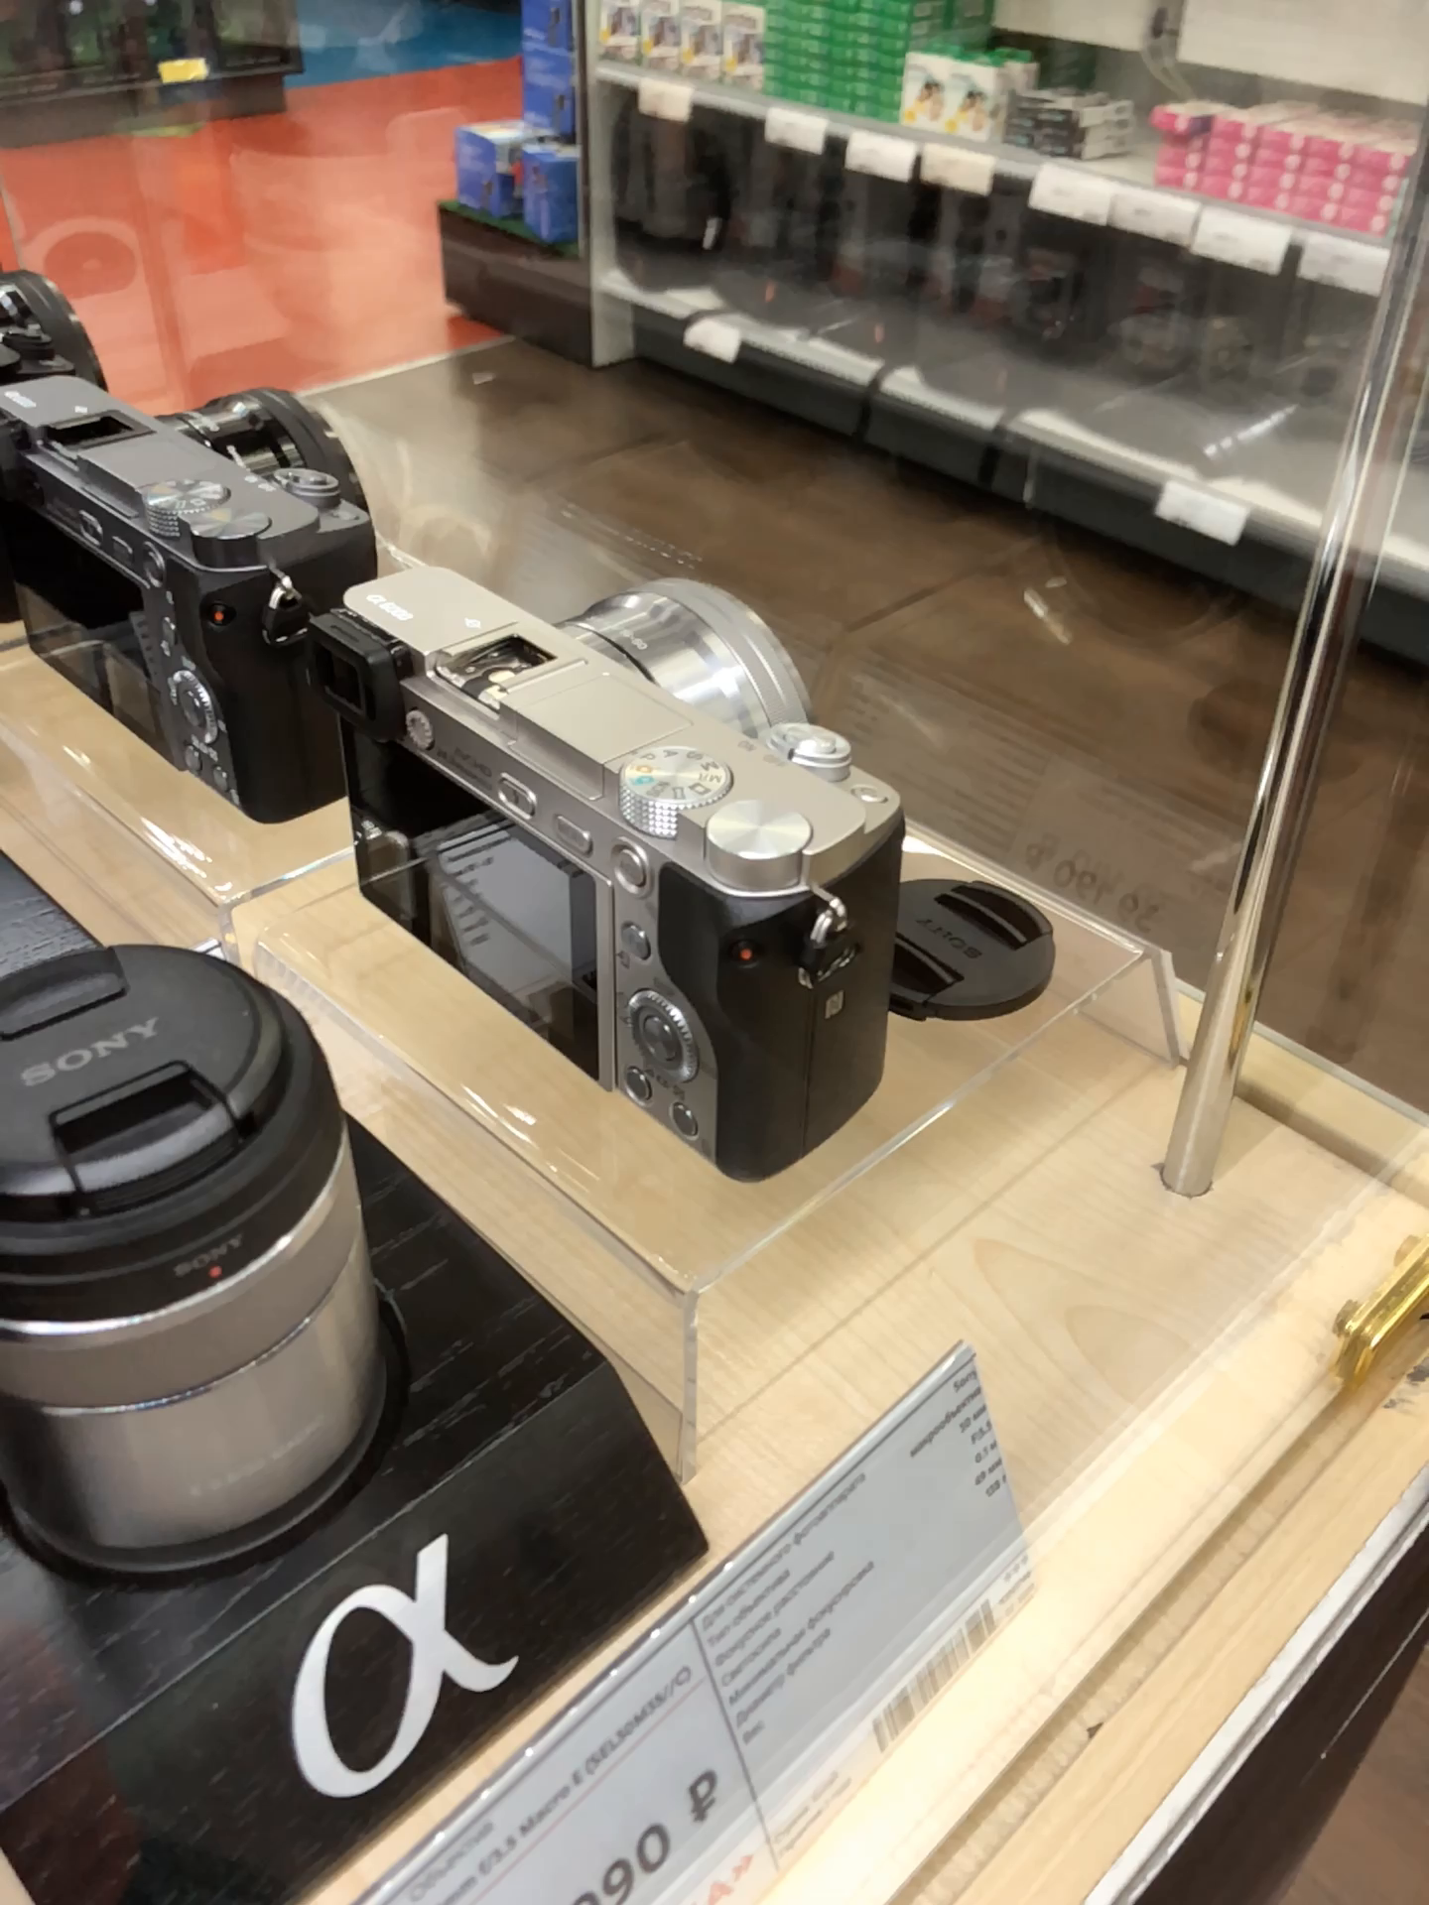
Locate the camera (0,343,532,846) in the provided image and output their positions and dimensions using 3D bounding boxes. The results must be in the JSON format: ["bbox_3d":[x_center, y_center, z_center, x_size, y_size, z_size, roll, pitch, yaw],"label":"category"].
[{"bbox_3d":[-0.115,-0.092,0.380,0.076,0.061,0.127,-29,47,-33],"label":"camera"}]

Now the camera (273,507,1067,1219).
[{"bbox_3d":[-0.012,-0.025,0.295,0.076,0.061,0.124,-29,47,-33],"label":"camera"}]
